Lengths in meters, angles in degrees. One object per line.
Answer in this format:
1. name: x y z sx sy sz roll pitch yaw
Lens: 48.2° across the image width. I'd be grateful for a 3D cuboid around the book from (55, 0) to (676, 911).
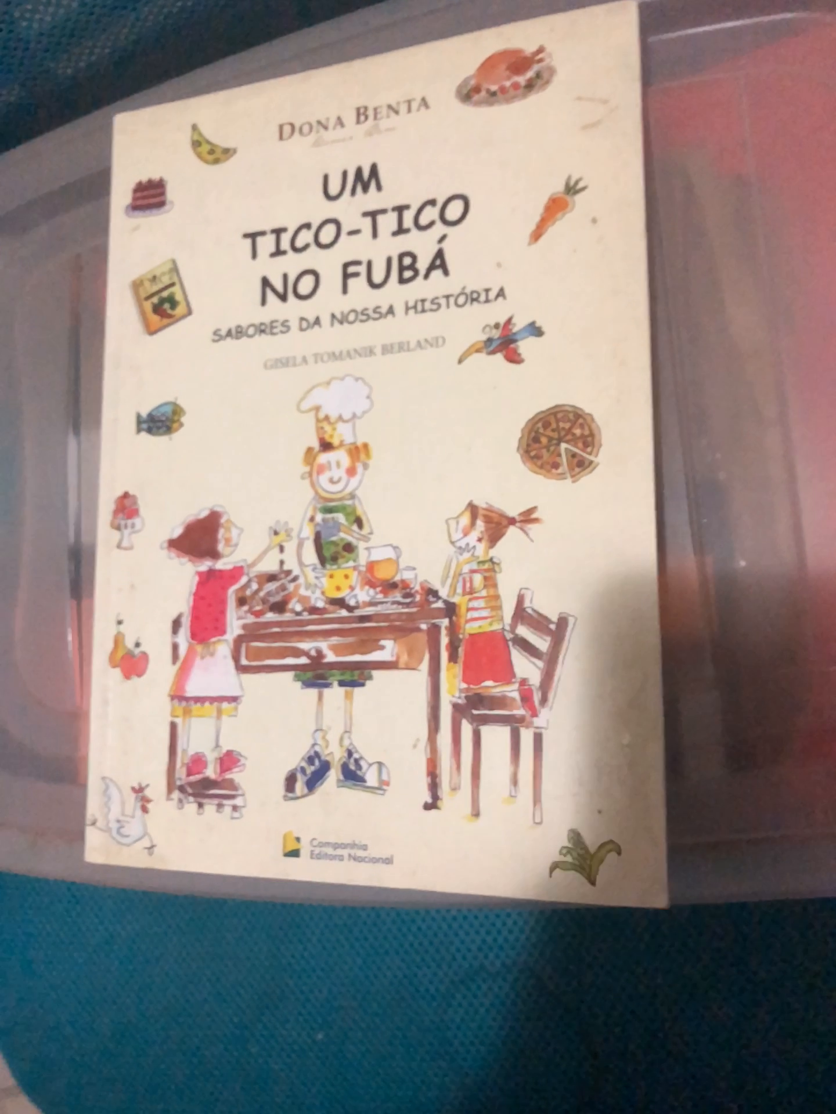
1. book: -0.020 -0.029 0.266 0.172 0.020 0.232 -3 83 18
